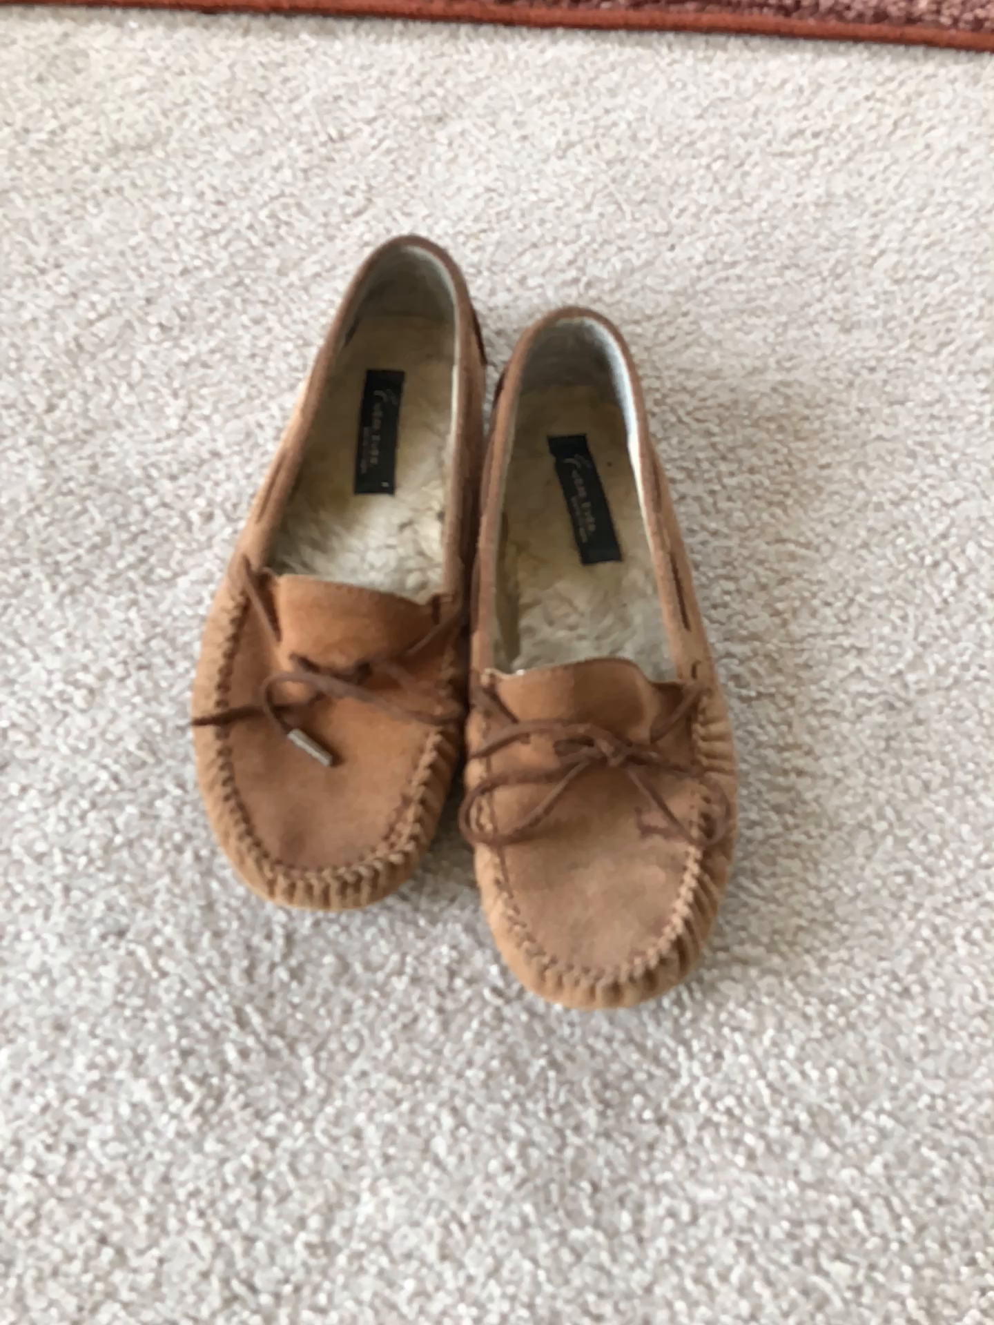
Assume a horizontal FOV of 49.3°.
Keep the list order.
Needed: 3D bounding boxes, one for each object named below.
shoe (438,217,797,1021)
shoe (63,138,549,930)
[{"bbox_3d":[0.034,-0.022,0.379,0.098,0.068,0.275,2,68,-3],"label":"shoe"},{"bbox_3d":[-0.053,-0.053,0.387,0.105,0.068,0.270,9,67,0],"label":"shoe"}]
